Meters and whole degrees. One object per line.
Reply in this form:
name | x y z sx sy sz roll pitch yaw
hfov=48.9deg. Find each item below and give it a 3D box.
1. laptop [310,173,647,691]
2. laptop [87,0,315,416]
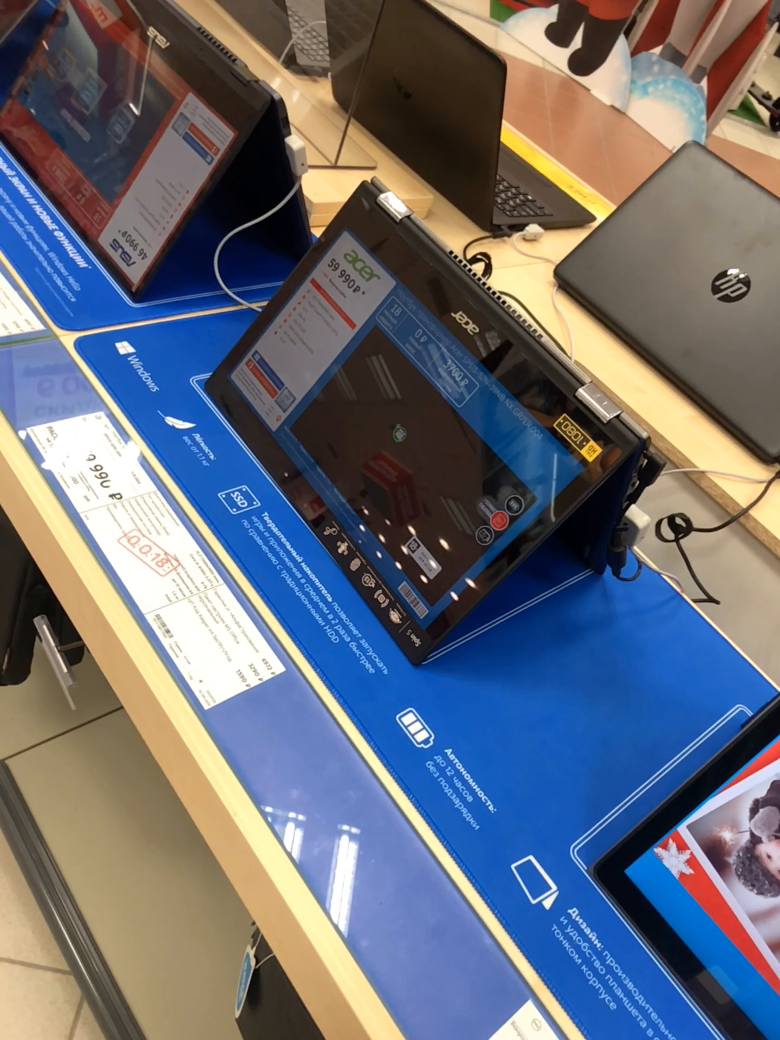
laptop | 0.053 -0.046 0.792 0.307 0.159 0.201 49 11 19
laptop | -0.212 -0.347 0.945 0.269 0.179 0.175 49 17 23
